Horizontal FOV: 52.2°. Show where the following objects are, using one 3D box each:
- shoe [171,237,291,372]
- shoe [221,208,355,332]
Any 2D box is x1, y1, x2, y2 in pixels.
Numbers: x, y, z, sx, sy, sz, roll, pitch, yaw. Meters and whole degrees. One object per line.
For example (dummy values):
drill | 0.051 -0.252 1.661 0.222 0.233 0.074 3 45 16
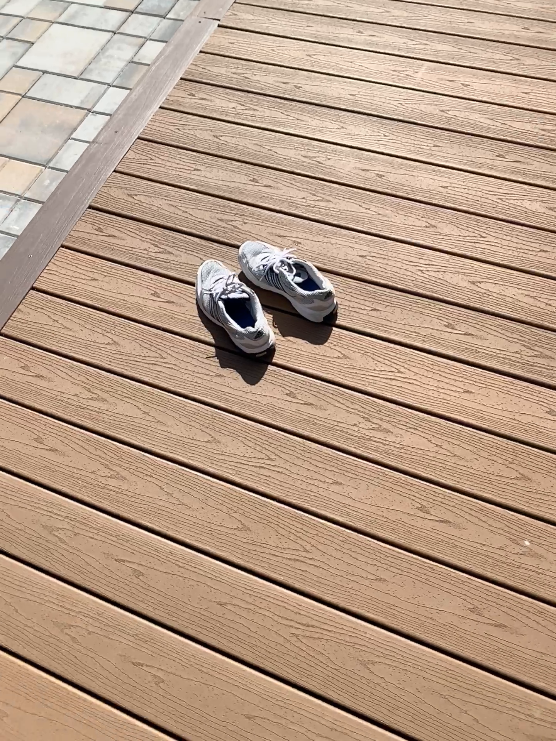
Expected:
shoe | -0.107 -0.154 1.287 0.120 0.100 0.291 -33 63 -13
shoe | 0.022 -0.237 1.320 0.301 0.100 0.120 39 71 23
